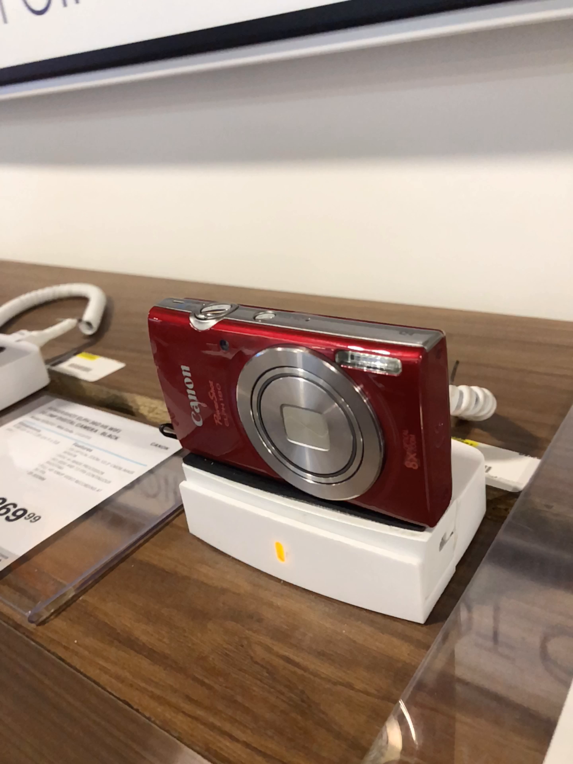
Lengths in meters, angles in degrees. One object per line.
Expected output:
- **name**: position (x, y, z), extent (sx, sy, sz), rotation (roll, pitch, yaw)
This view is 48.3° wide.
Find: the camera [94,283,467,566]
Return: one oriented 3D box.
- **camera**: position (-0.004, 0.005, 0.176), extent (0.100, 0.050, 0.030), rotation (12, 30, 36)
